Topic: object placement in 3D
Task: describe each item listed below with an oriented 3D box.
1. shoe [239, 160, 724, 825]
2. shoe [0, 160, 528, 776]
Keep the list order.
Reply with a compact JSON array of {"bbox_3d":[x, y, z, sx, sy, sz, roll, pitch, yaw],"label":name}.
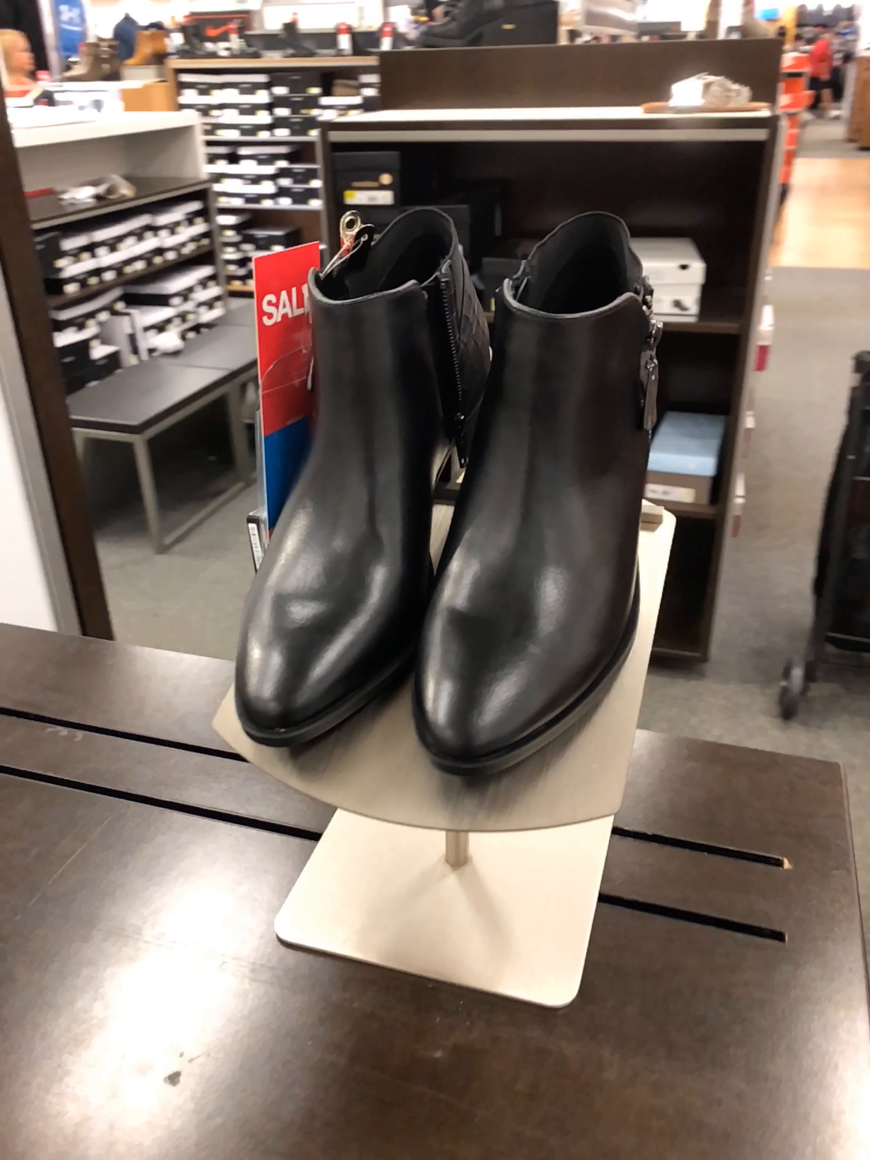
[{"bbox_3d":[0.041,-0.050,0.400,0.105,0.131,0.244,10,52,21],"label":"shoe"},{"bbox_3d":[-0.051,-0.062,0.429,0.105,0.131,0.244,10,52,21],"label":"shoe"}]
